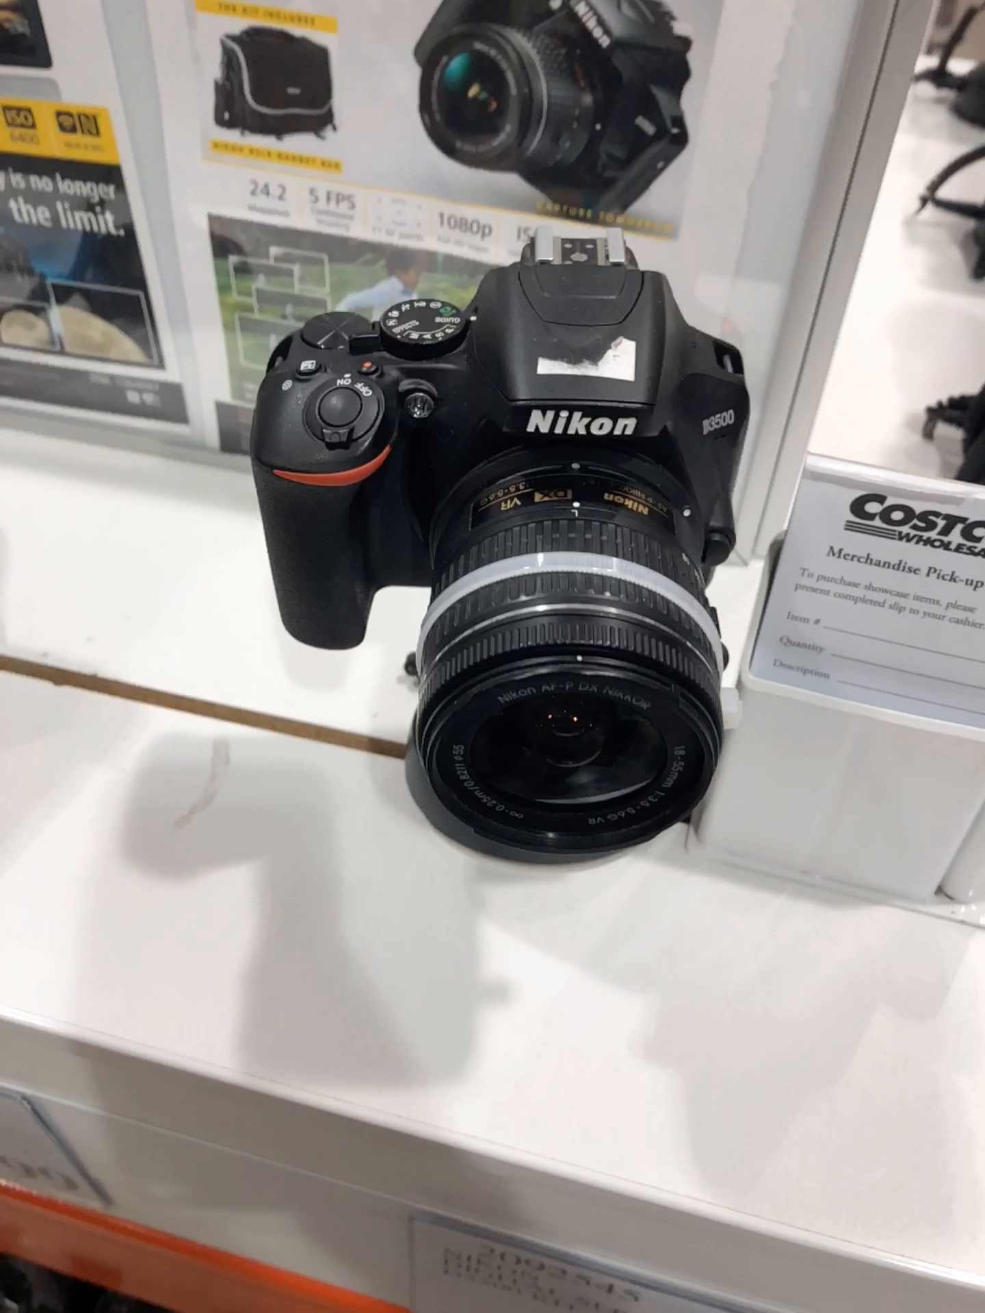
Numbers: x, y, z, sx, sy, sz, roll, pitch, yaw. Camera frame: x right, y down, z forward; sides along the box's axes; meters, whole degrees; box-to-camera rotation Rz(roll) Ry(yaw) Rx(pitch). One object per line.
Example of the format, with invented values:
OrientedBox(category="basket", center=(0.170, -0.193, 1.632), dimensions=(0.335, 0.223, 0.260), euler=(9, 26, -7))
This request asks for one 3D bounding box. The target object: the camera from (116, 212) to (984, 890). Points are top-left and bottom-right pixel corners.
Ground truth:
OrientedBox(category="camera", center=(0.008, -0.026, 0.253), dimensions=(0.140, 0.100, 0.121), euler=(1, 45, -2))
